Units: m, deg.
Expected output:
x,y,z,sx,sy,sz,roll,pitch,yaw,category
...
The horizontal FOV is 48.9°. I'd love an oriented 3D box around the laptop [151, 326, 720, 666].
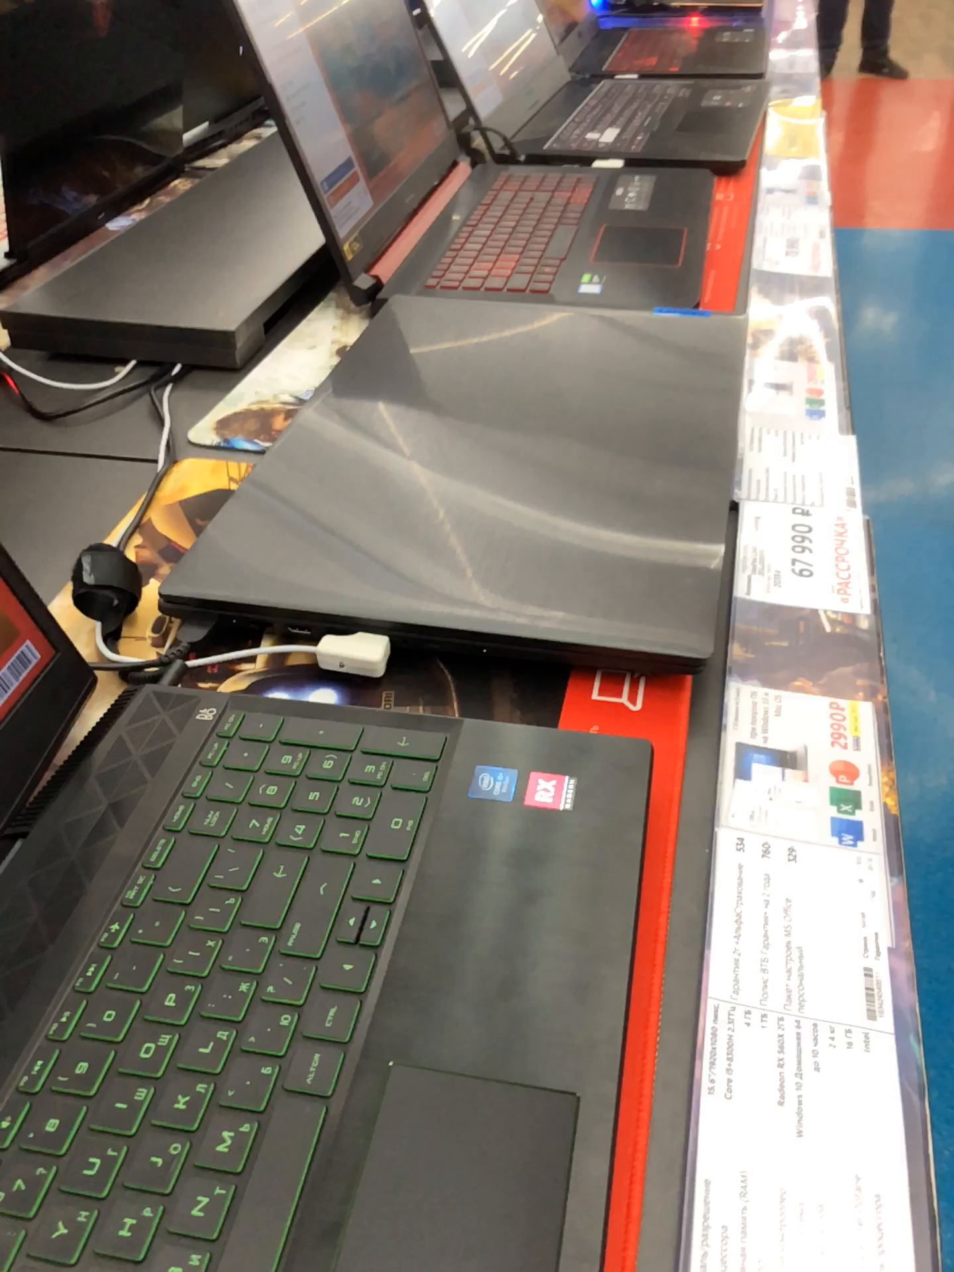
x,y,z,sx,sy,sz,roll,pitch,yaw,category
0.008,-0.117,0.663,0.268,0.002,0.391,6,38,11,laptop
